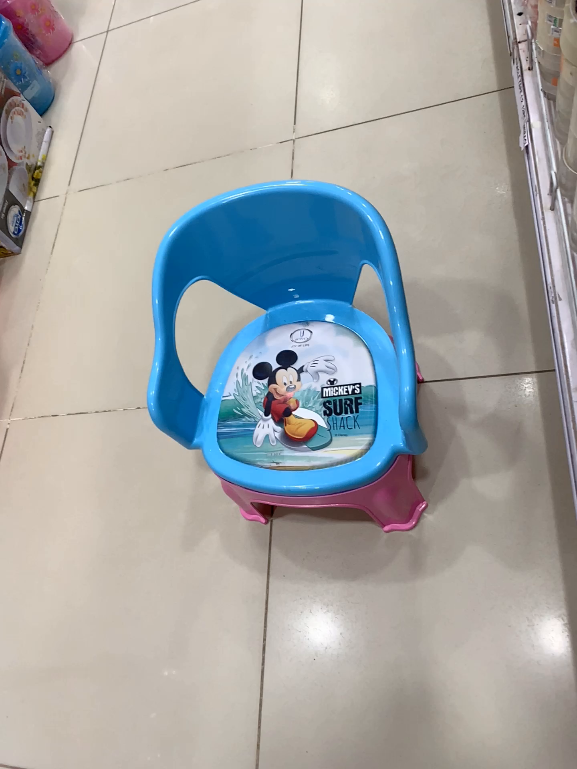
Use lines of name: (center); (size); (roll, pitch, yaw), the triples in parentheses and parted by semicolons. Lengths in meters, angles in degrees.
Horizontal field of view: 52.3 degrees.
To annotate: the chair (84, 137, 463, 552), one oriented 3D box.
chair: (0.026, -0.021, 0.762); (0.351, 0.319, 0.390); (-1, 67, 22)
